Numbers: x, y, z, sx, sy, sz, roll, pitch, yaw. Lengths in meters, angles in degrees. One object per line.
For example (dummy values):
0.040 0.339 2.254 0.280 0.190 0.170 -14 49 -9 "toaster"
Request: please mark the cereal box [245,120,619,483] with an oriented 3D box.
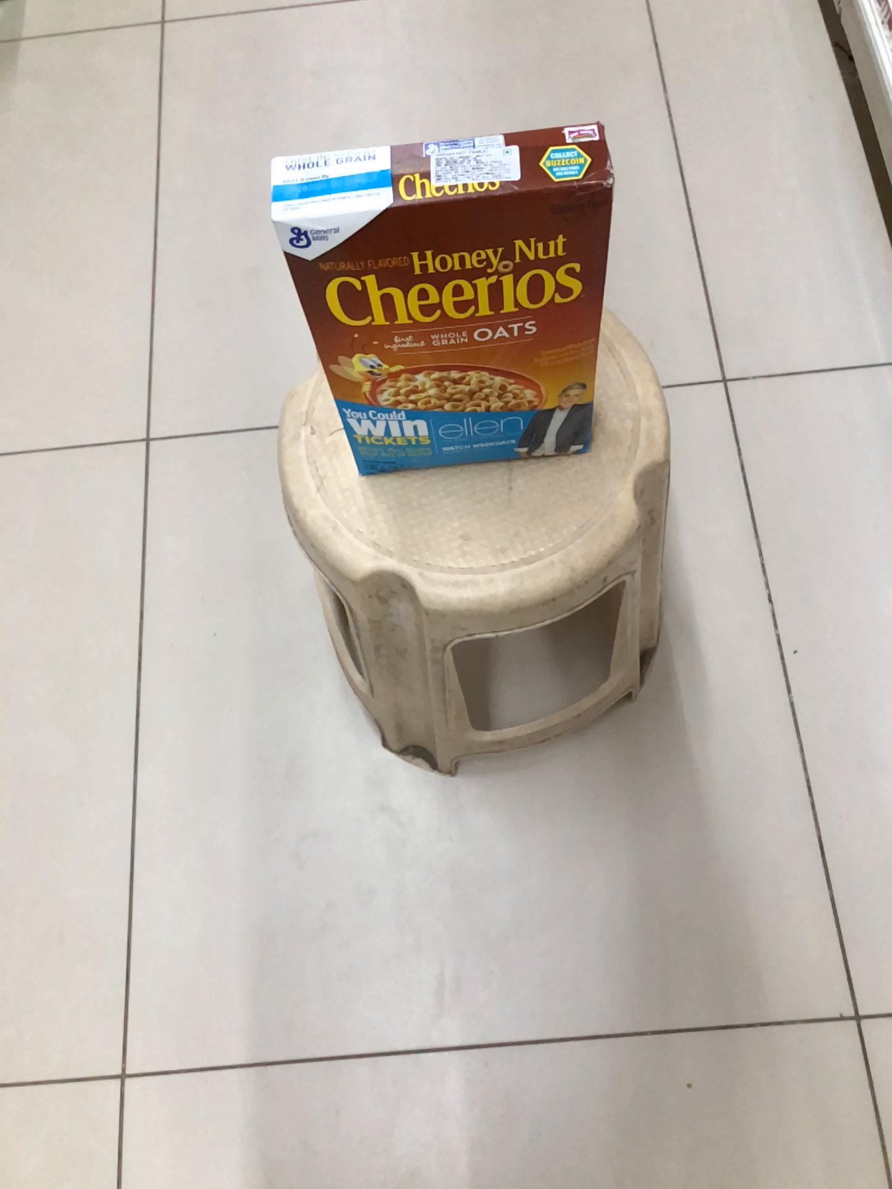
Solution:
-0.002 -0.167 0.638 0.190 0.279 0.050 -6 70 1 "cereal box"
